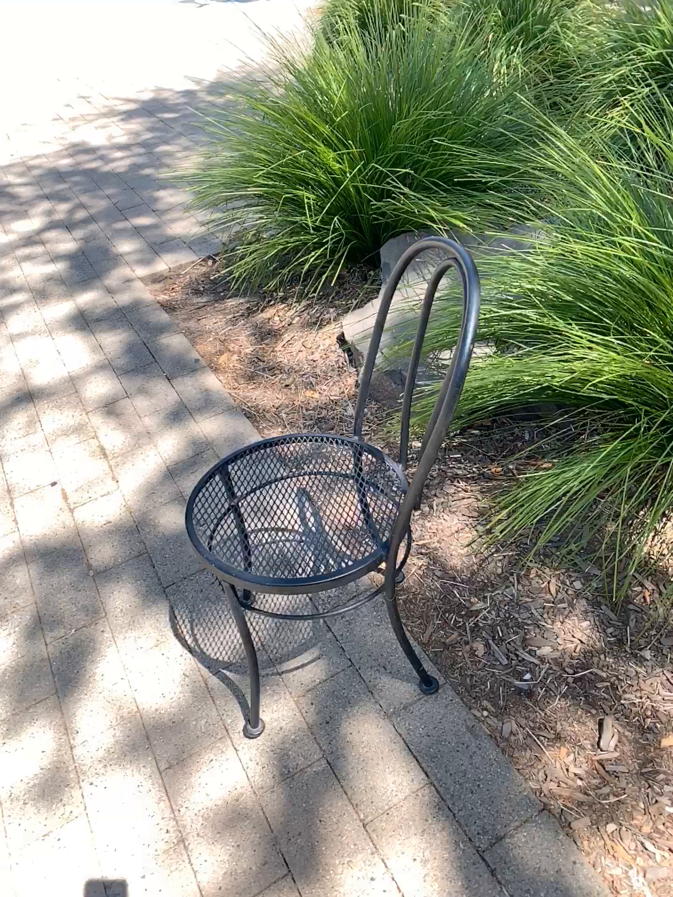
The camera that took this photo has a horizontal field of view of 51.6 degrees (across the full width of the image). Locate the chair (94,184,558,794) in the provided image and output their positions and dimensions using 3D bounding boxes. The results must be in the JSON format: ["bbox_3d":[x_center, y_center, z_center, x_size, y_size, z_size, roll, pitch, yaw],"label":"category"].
[{"bbox_3d":[0.013,0.134,1.279,0.530,0.997,0.462,-10,40,-2],"label":"chair"}]
